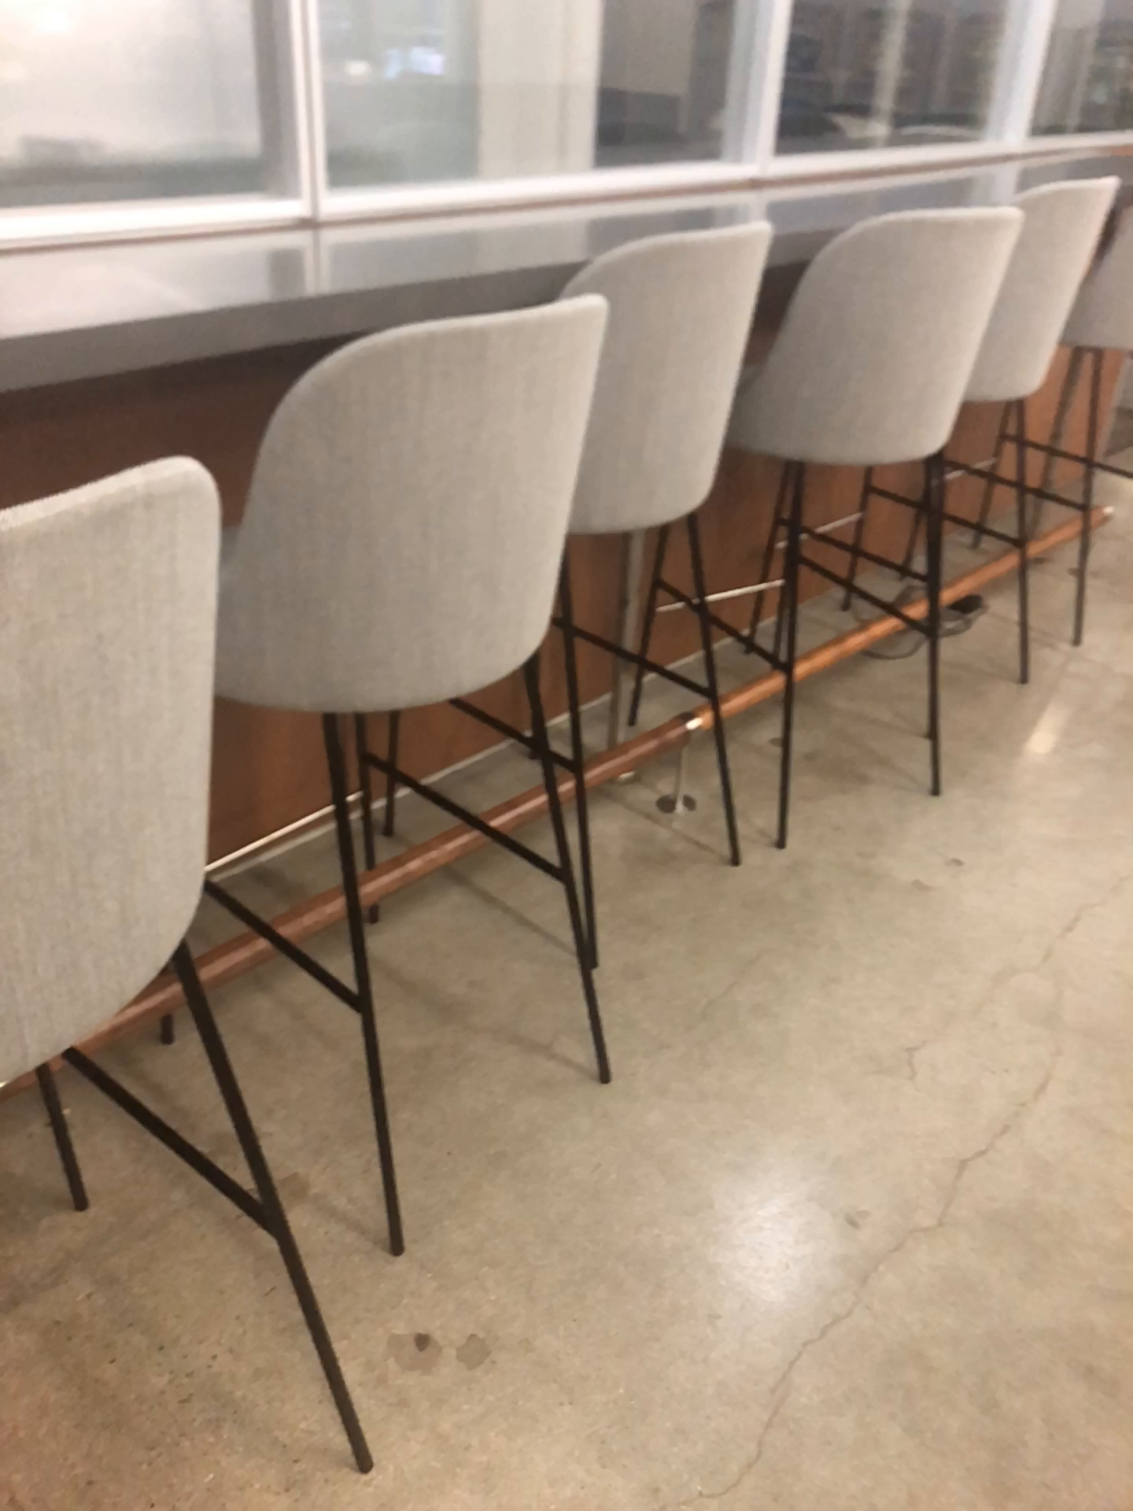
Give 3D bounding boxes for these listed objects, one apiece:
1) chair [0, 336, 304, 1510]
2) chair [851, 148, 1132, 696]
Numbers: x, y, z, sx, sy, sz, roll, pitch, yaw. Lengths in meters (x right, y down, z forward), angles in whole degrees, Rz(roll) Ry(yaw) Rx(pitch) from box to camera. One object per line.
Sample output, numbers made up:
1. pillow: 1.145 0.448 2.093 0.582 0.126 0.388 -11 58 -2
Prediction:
1. chair: -0.843 0.374 1.503 0.621 1.487 0.715 25 37 33
2. chair: 1.207 -0.859 3.207 0.493 1.180 0.591 -24 40 -38
